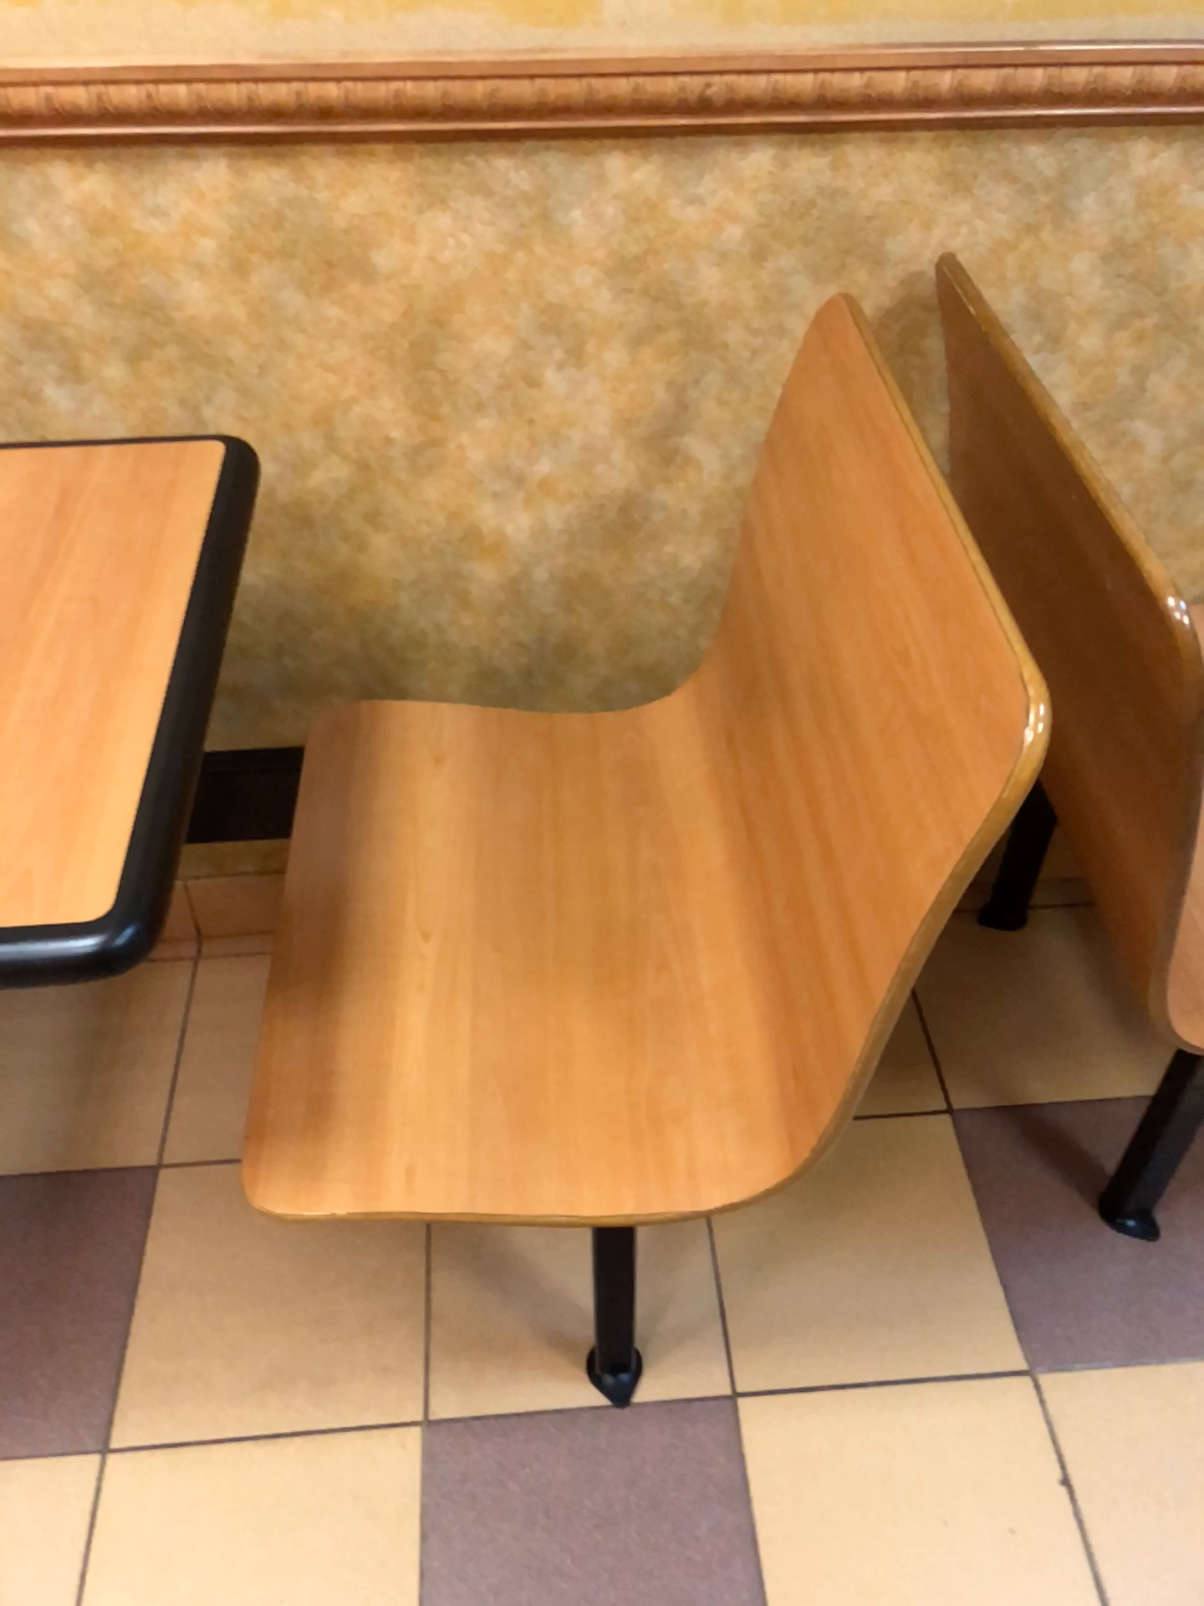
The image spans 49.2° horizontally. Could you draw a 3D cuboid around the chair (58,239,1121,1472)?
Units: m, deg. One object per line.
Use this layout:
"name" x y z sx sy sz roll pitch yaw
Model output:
"chair" -0.022 0.075 1.164 0.510 0.885 0.634 -2 43 -3
